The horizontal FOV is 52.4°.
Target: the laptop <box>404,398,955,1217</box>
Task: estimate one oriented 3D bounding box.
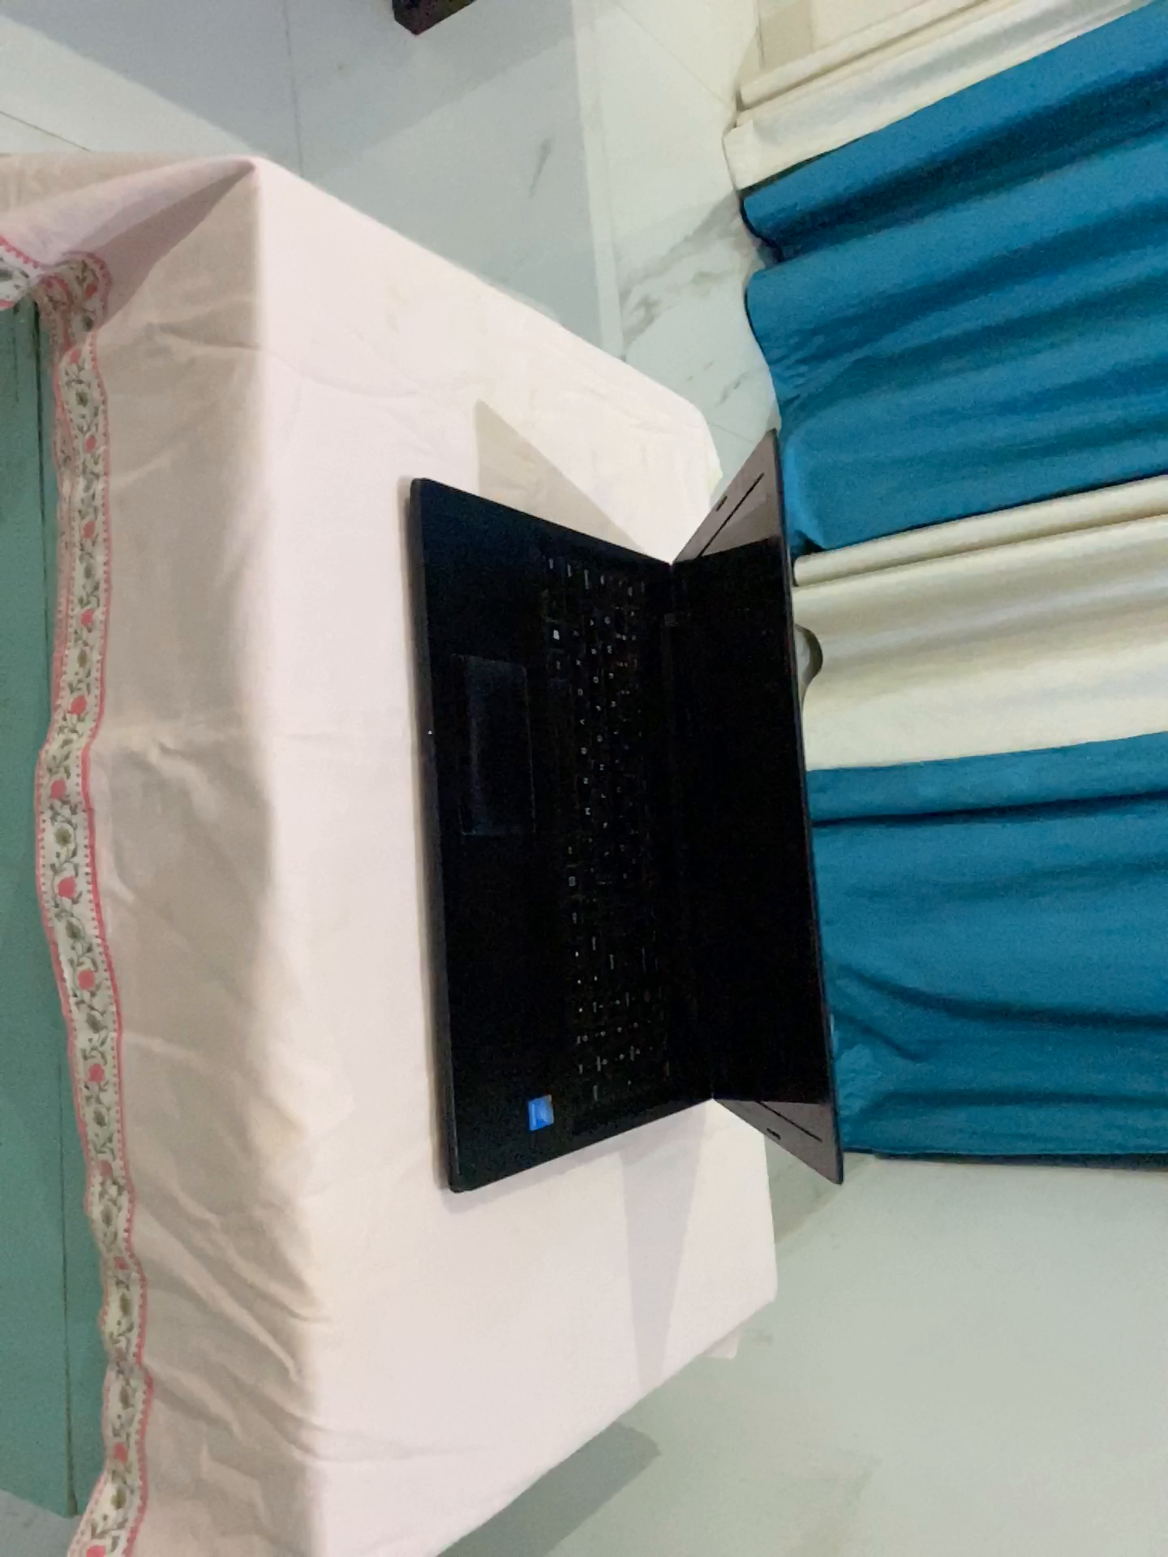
[{"bbox_3d":[0.065,0.020,0.686,0.260,0.176,0.368,3,82,-54],"label":"laptop"}]
